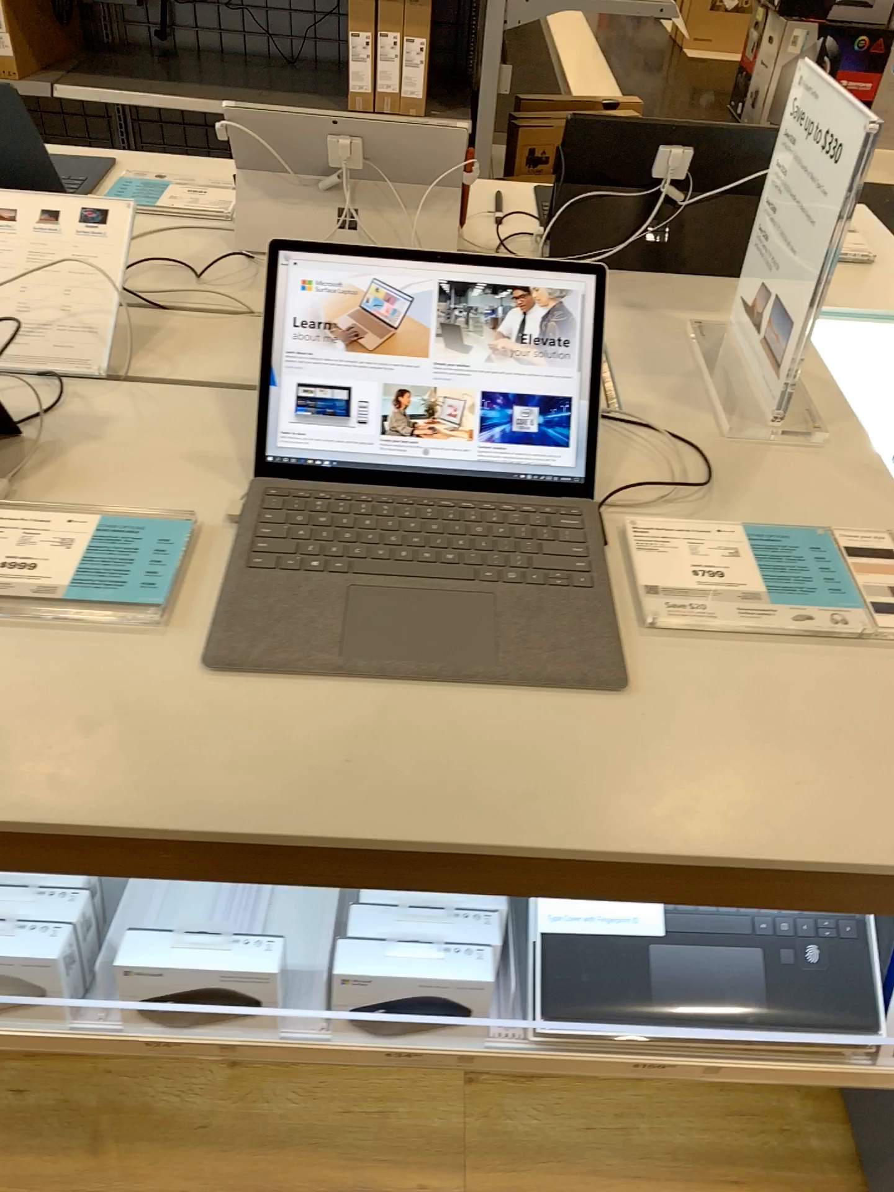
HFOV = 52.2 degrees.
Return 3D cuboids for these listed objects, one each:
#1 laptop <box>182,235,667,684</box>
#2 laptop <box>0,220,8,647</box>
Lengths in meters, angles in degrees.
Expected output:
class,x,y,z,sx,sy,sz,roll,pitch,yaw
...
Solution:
class,x,y,z,sx,sy,sz,roll,pitch,yaw
laptop,-0.015,-0.130,0.740,0.296,0.148,0.376,3,44,-2
laptop,-0.534,-0.131,0.675,0.289,0.157,0.291,2,43,-4
